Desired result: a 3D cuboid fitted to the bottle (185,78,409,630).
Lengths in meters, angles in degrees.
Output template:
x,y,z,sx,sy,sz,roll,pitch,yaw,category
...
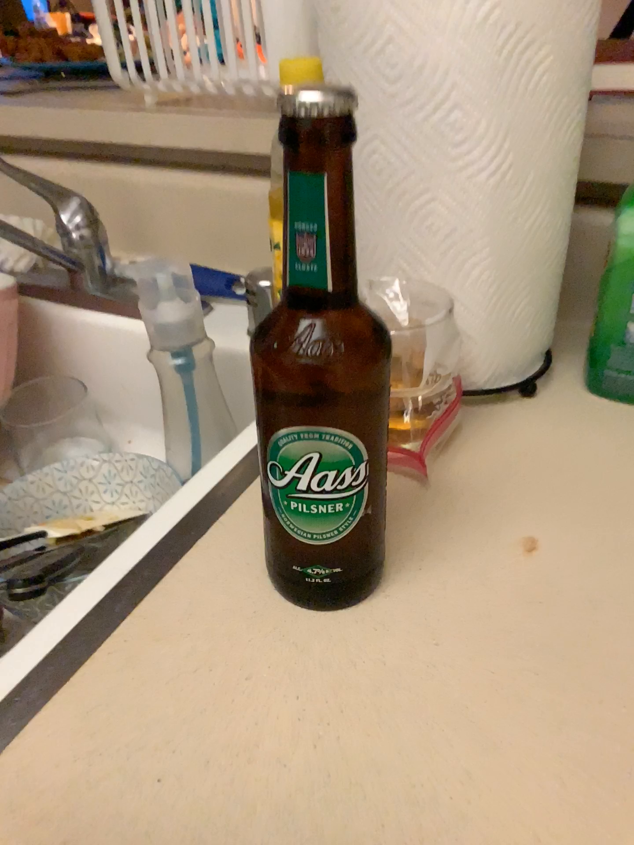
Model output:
x,y,z,sx,sy,sz,roll,pitch,yaw,category
-0.001,-0.017,0.304,0.070,0.230,0.060,2,31,6,bottle
